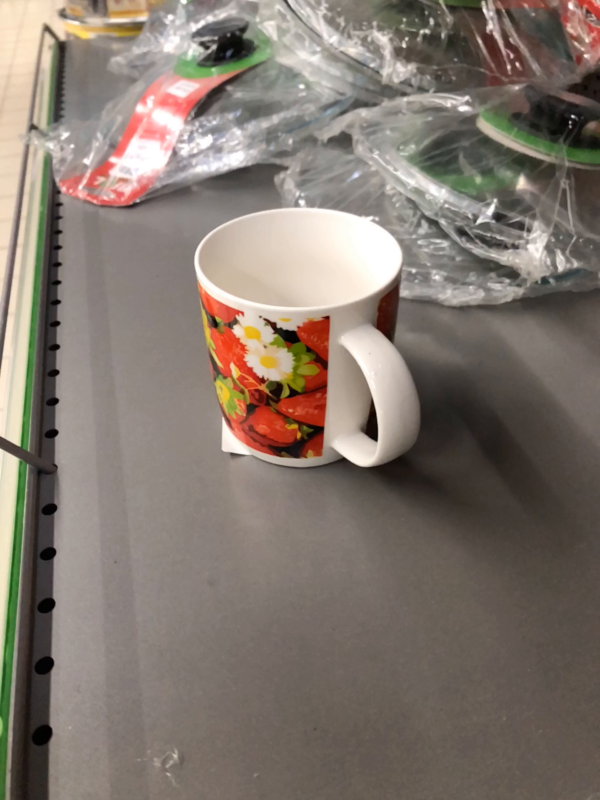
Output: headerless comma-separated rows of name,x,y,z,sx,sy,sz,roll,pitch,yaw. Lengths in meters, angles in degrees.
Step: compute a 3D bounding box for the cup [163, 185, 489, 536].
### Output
cup,0.004,-0.026,0.296,0.090,0.078,0.129,-16,42,-14
